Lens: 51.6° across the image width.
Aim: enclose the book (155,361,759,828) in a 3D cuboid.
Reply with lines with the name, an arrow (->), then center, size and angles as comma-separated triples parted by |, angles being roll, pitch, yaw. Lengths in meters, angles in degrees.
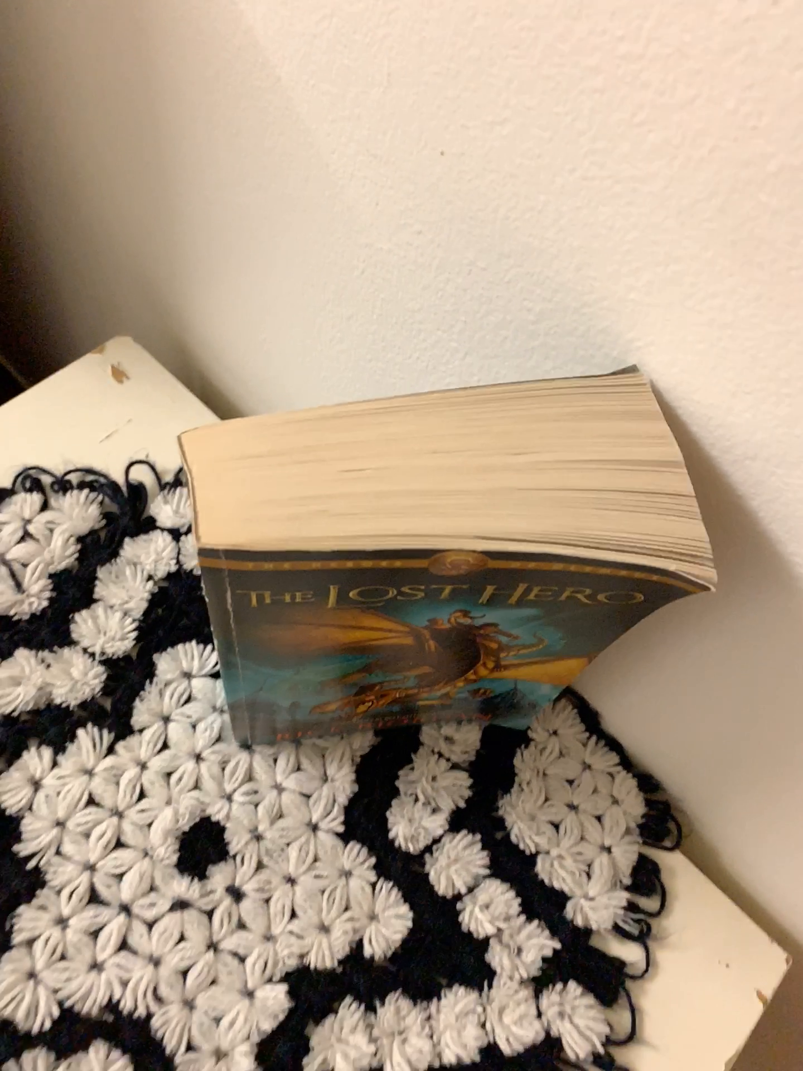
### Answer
book -> 0.002, 0.032, 0.282 | 0.142, 0.177, 0.068 | -6, 59, -12
